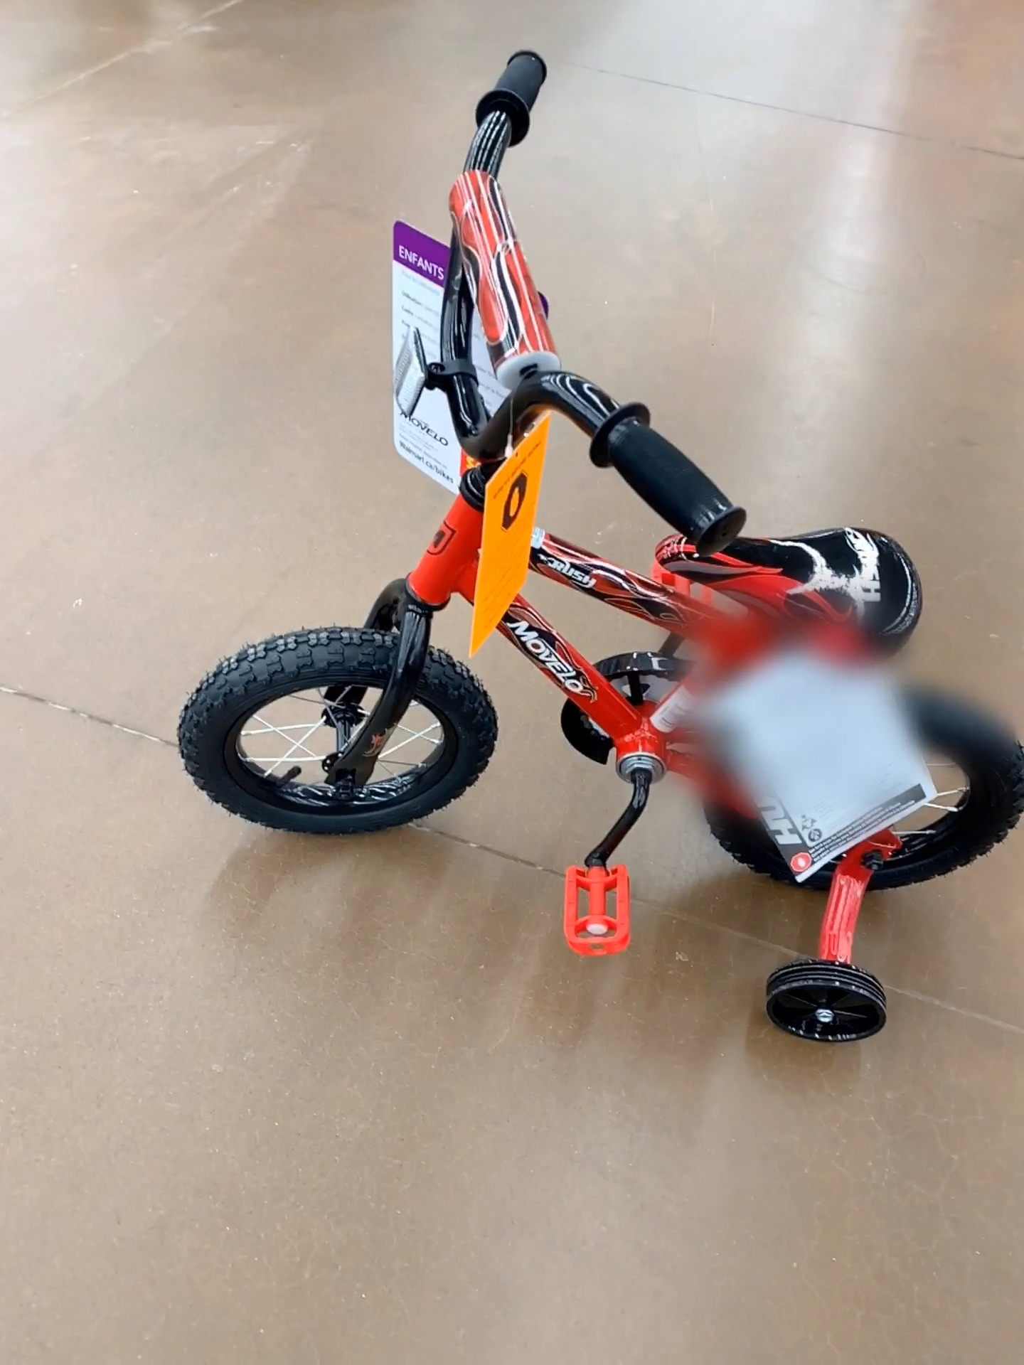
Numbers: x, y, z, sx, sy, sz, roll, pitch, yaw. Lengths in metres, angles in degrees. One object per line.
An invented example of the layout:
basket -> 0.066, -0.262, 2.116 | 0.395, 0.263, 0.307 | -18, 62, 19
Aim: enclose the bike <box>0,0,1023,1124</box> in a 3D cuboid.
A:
bike -> 0.096, -0.062, 0.739 | 0.735, 0.604, 0.441 | 7, 46, -4
